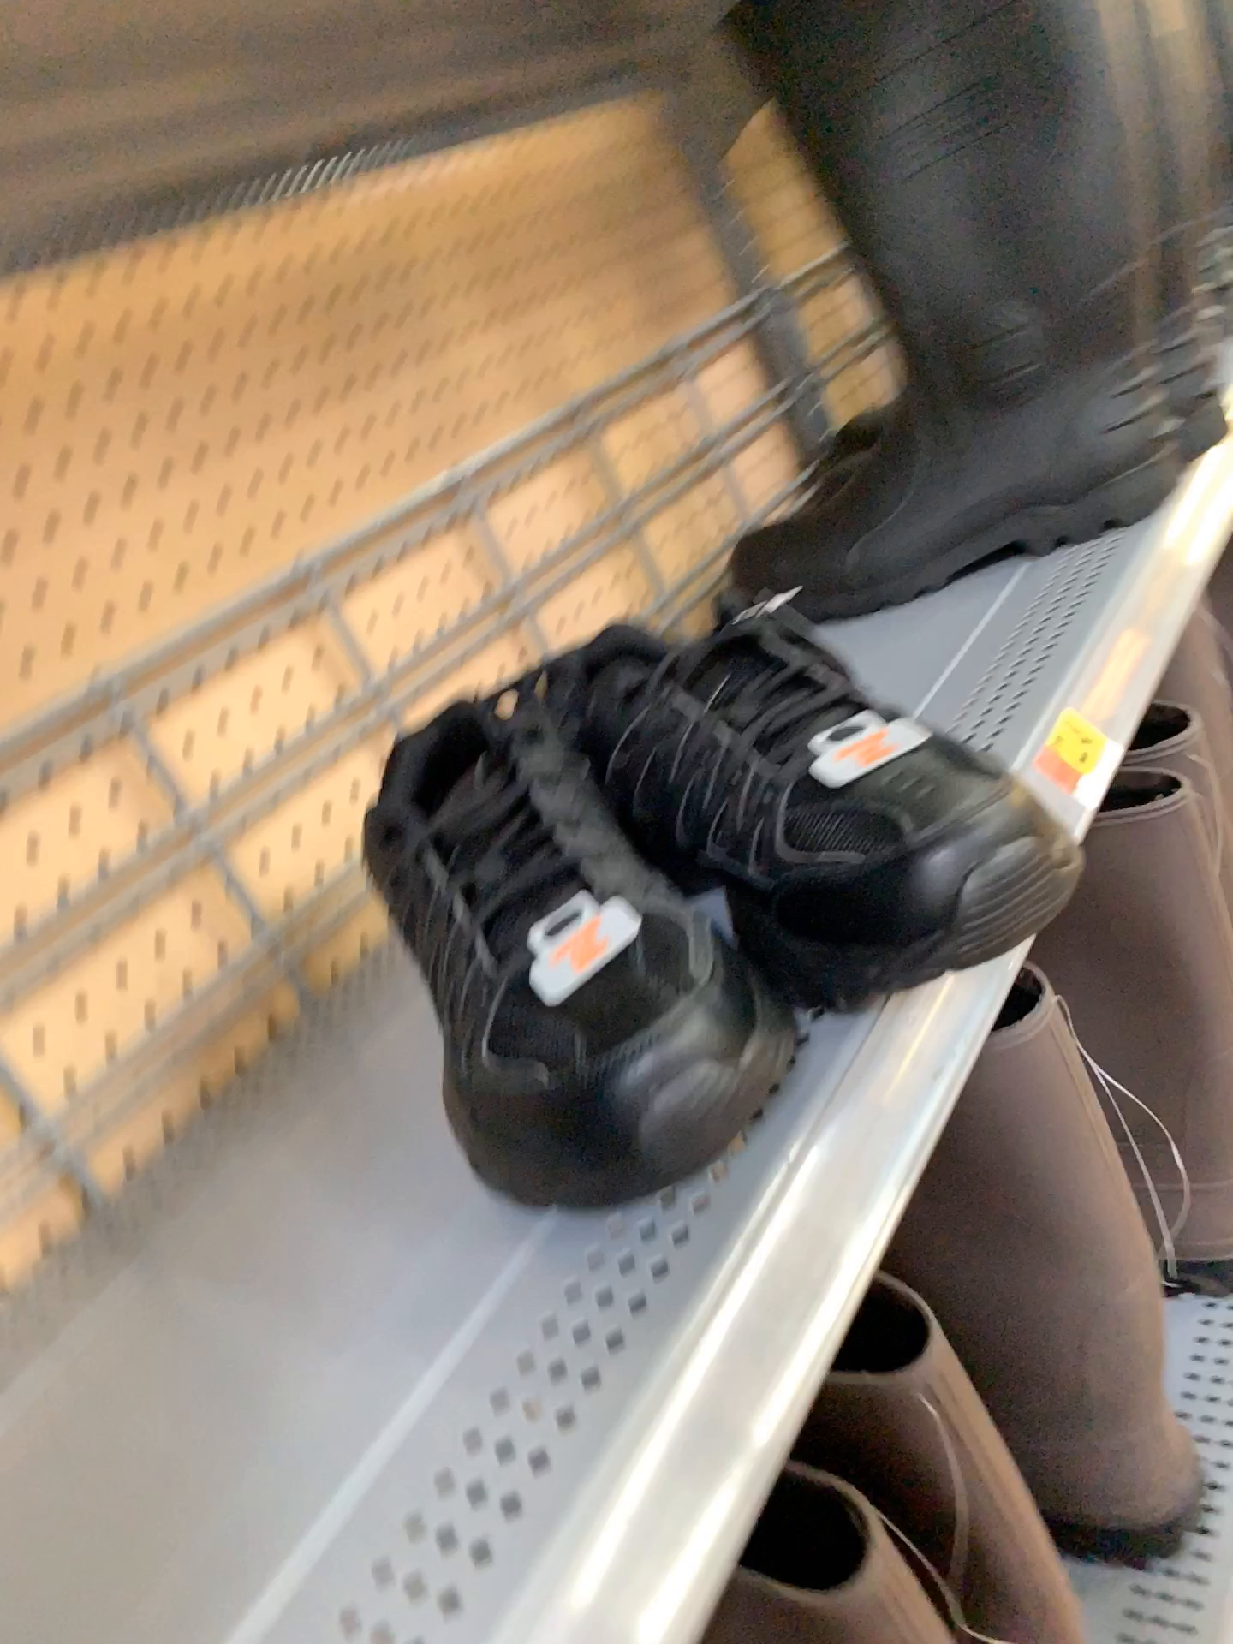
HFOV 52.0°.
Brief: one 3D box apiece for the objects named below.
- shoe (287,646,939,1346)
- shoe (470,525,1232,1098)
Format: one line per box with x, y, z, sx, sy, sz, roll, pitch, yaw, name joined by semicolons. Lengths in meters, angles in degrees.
-0.031;0.029;0.472;0.139;0.104;0.298;-30;19;-7;shoe
0.067;-0.026;0.485;0.135;0.104;0.298;-33;20;-15;shoe
